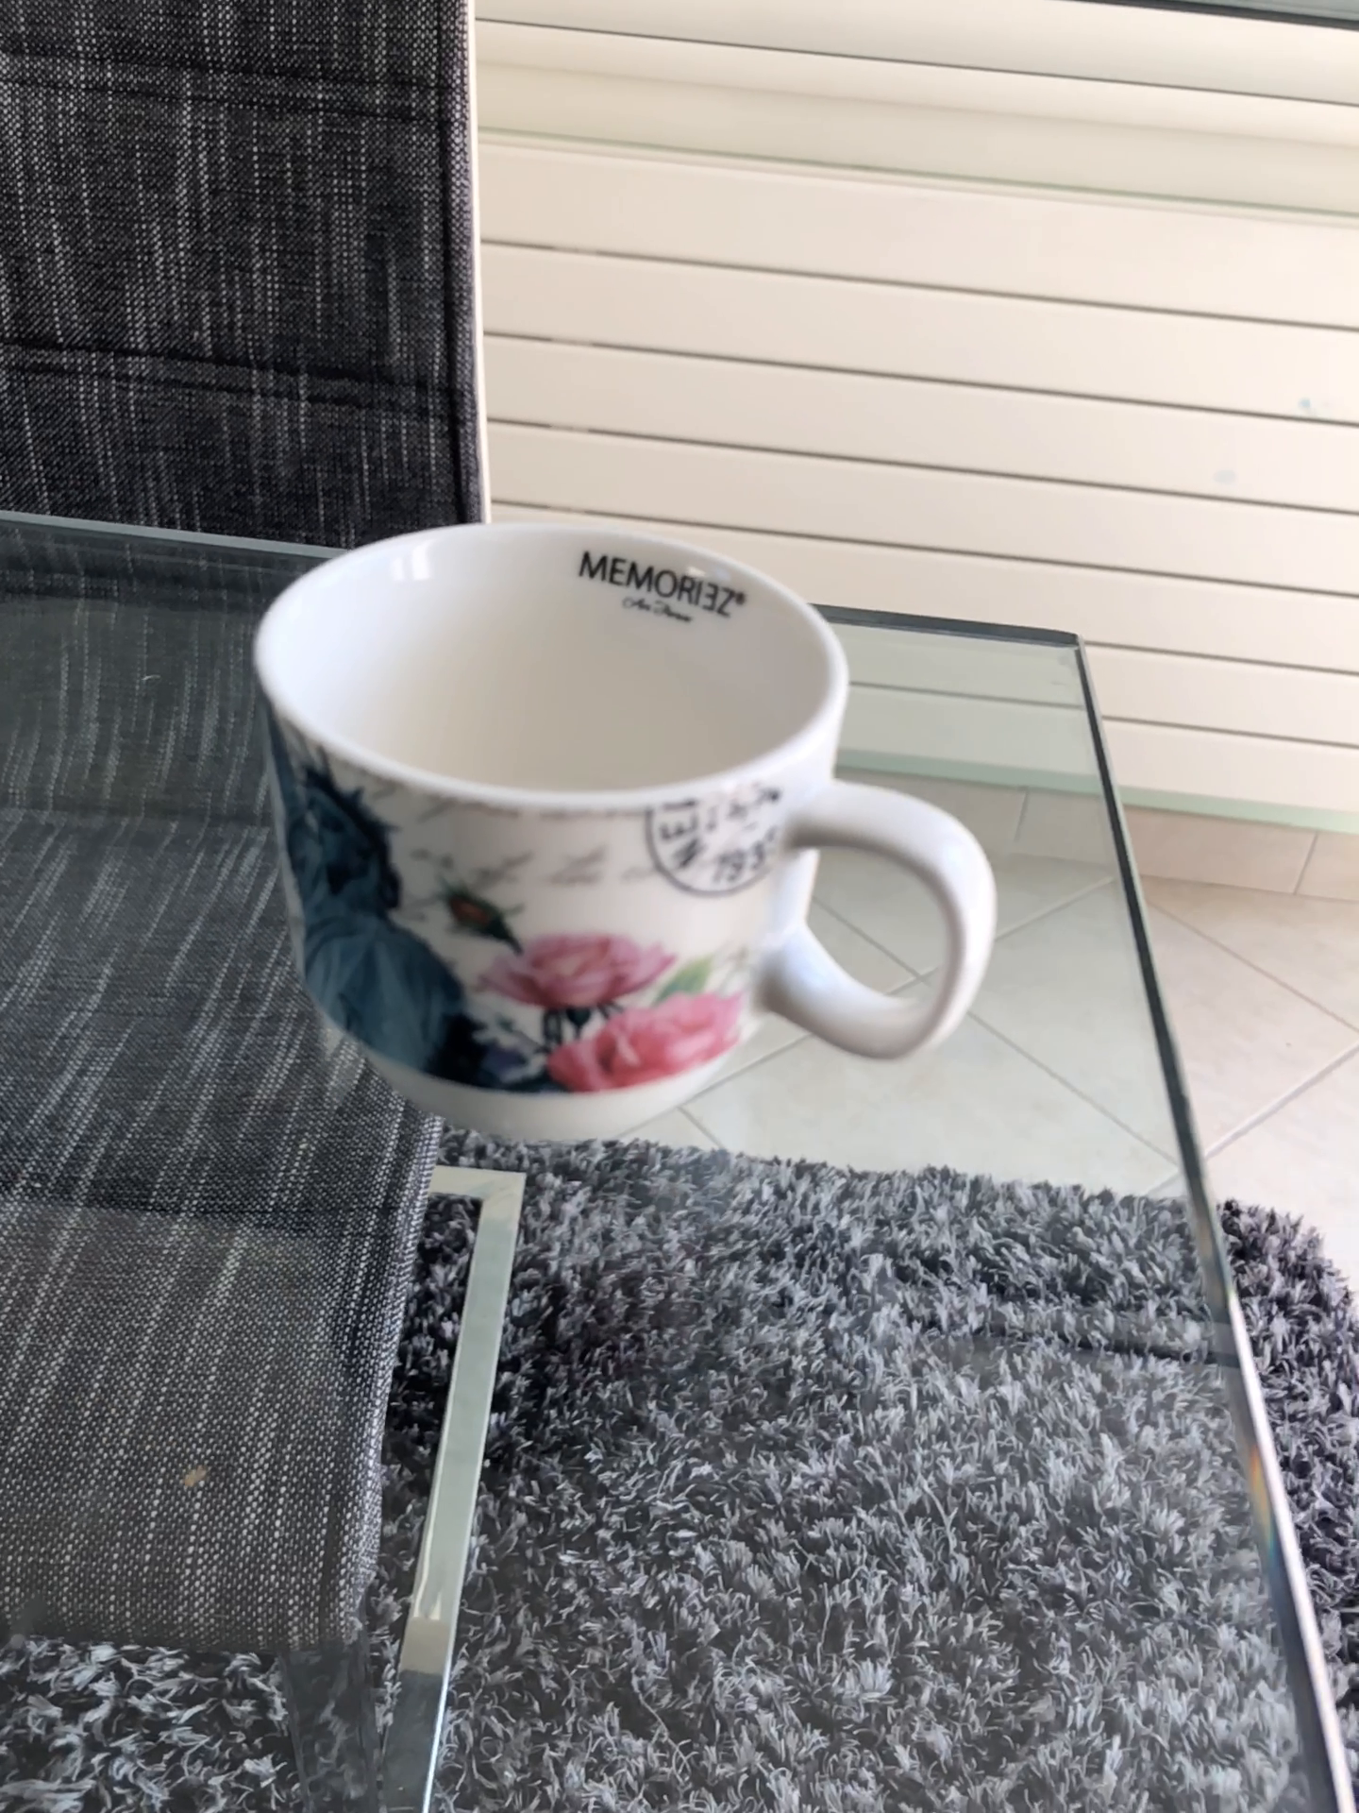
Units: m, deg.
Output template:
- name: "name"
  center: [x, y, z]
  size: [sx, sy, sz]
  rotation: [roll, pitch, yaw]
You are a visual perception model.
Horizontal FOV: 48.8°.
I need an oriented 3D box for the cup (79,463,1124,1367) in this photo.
- name: "cup"
  center: [-0.009, -0.008, 0.178]
  size: [0.090, 0.050, 0.070]
  rotation: [25, 41, 25]
